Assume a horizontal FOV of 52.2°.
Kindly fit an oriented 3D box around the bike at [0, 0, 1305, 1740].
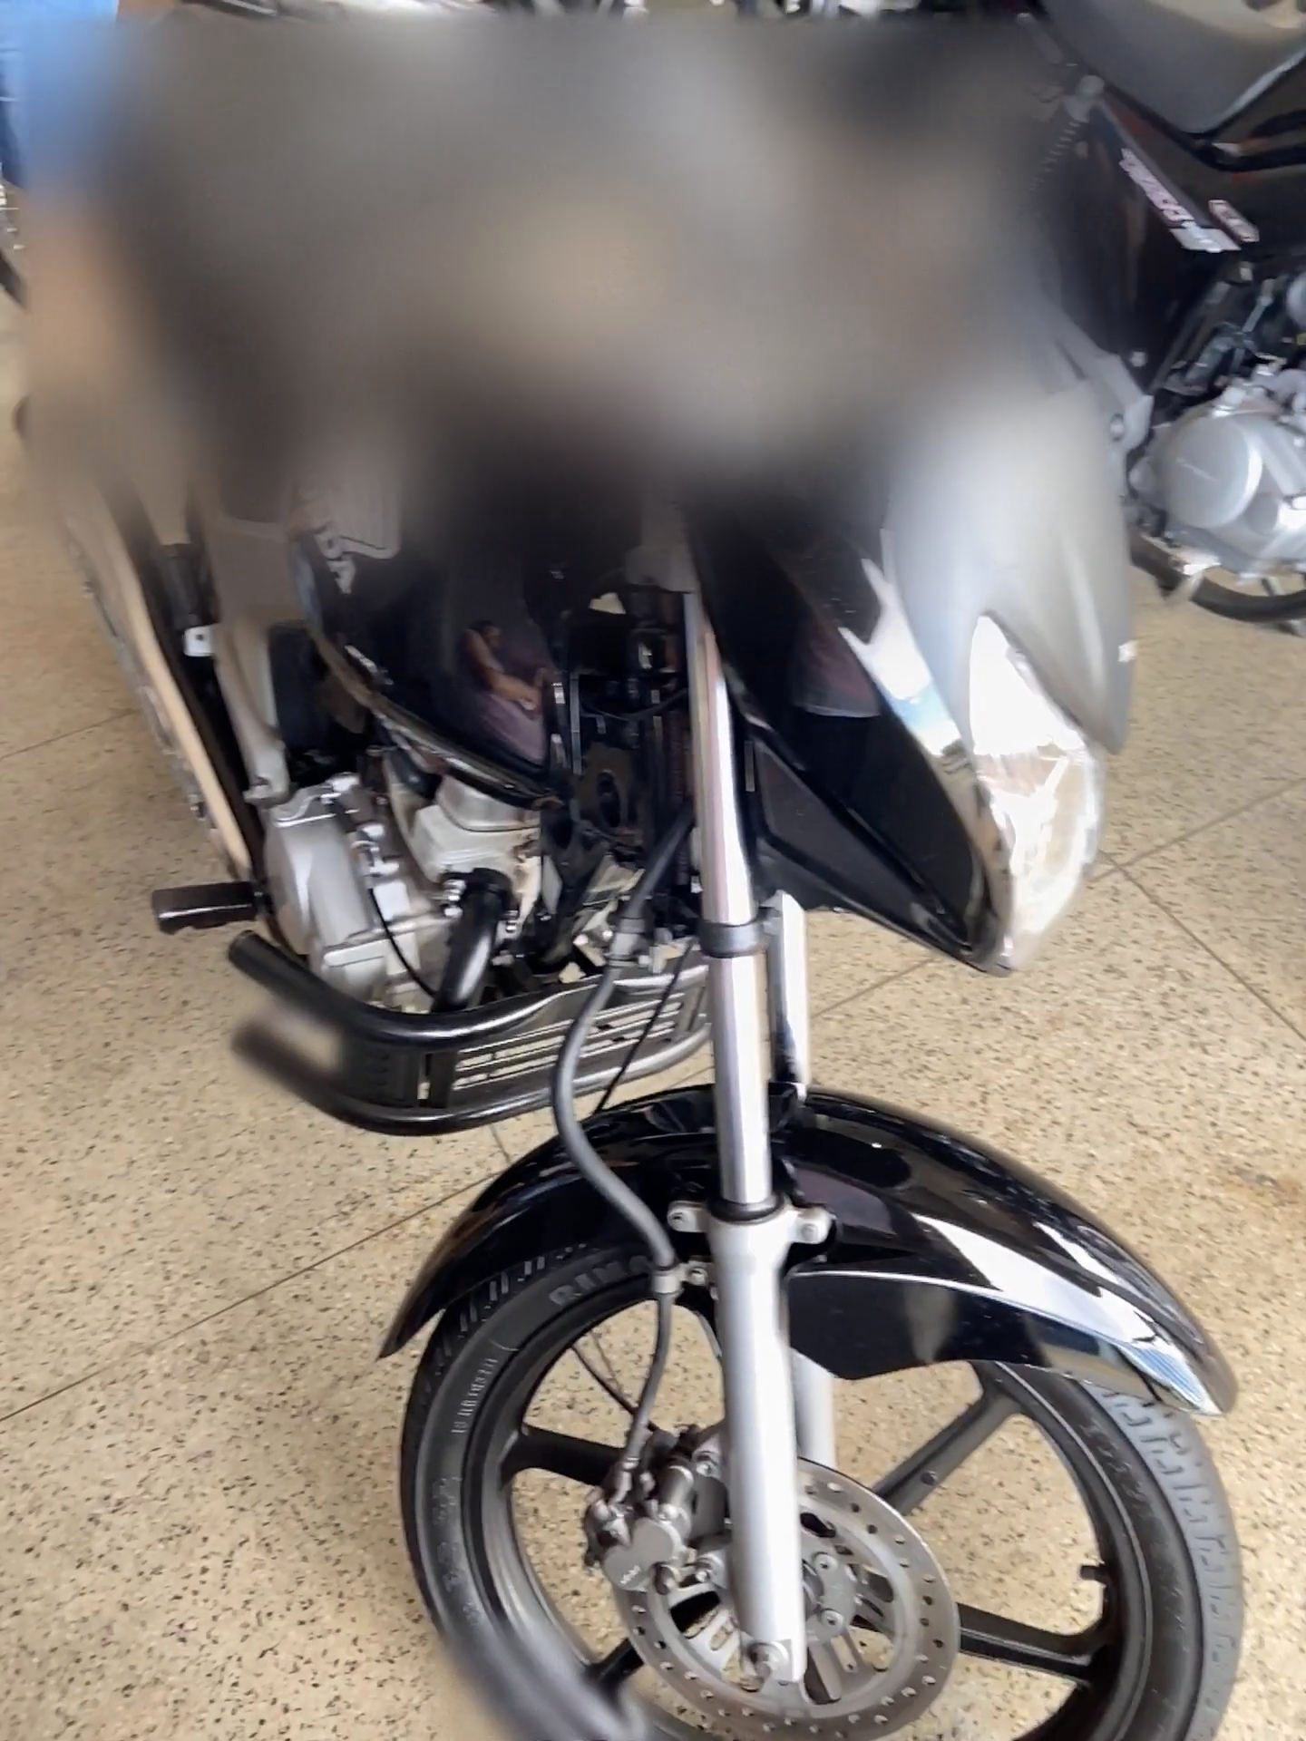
[{"bbox_3d":[-0.054,-0.222,1.203,0.774,1.138,1.742,-28,52,-19],"label":"bike"}]
